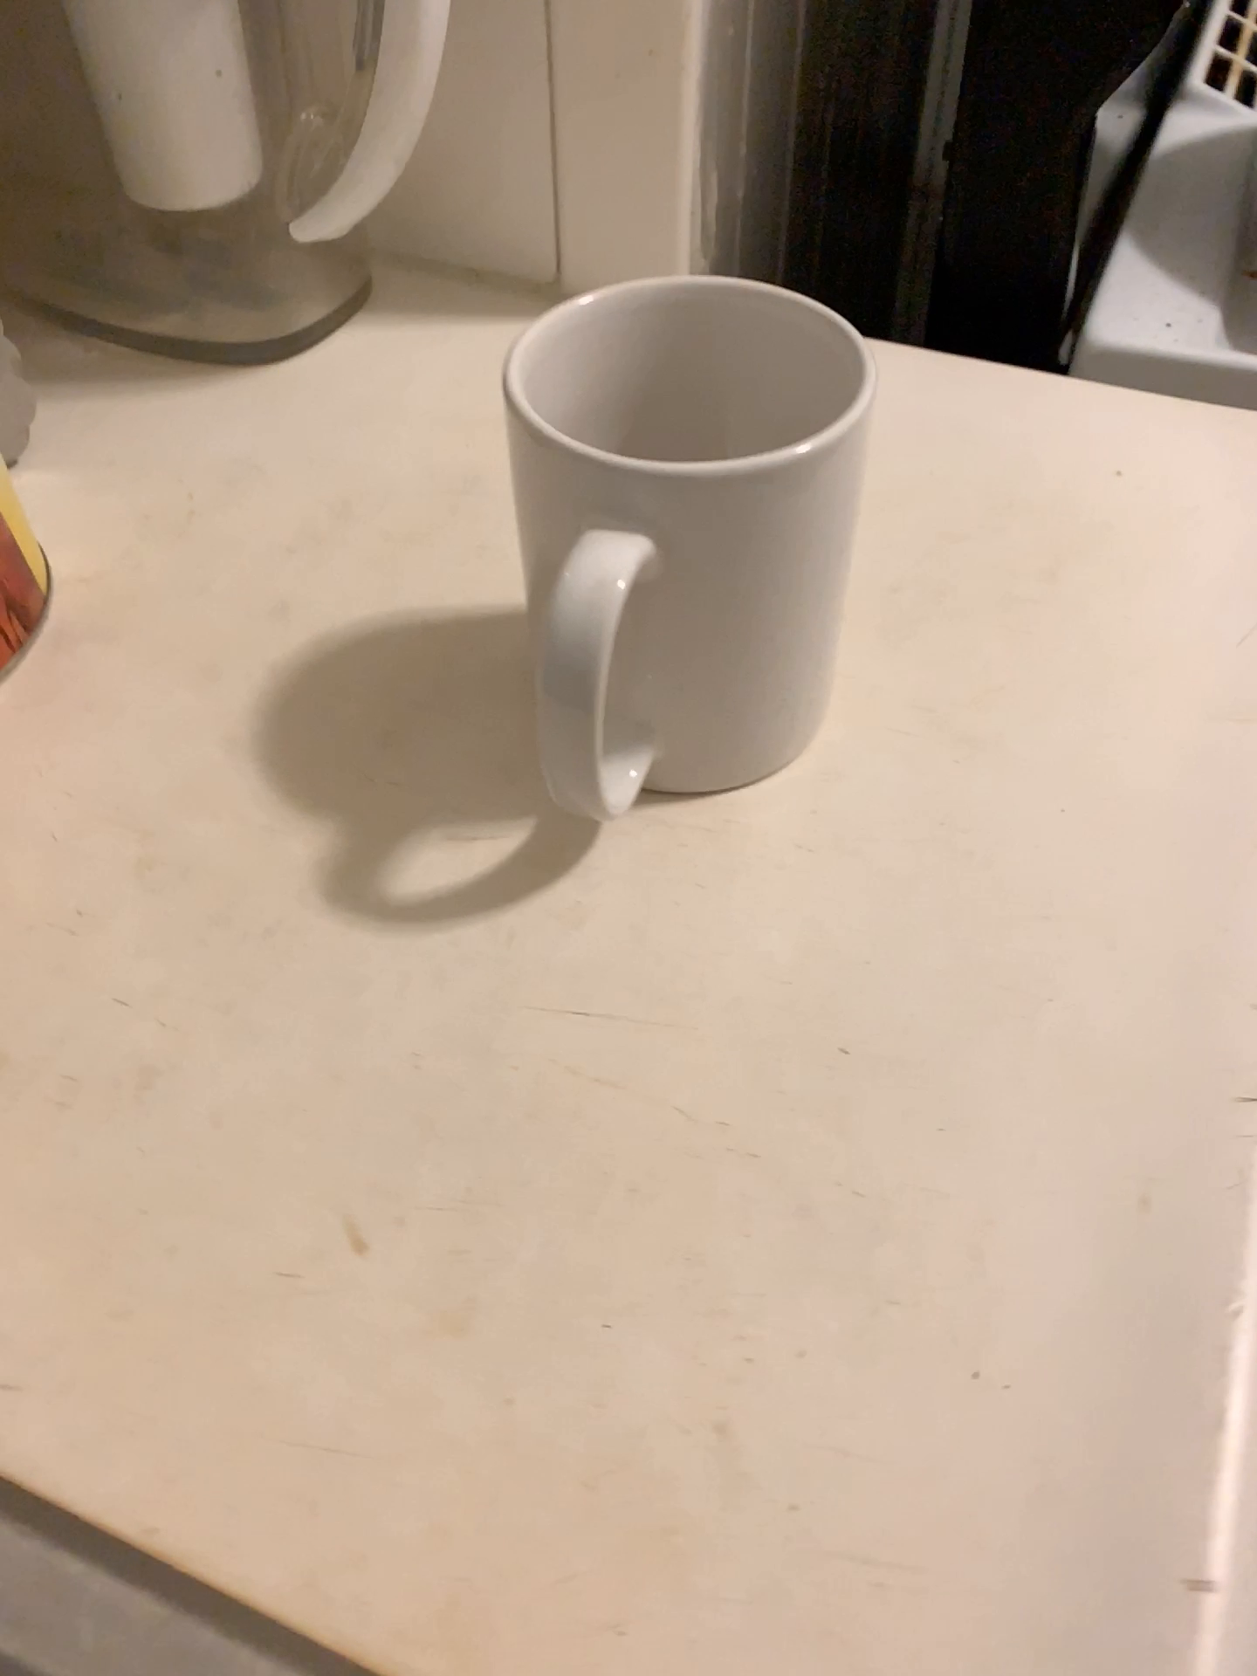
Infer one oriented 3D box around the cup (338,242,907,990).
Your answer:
[{"bbox_3d":[0.007,-0.059,0.324,0.090,0.109,0.141,11,49,11],"label":"cup"}]
